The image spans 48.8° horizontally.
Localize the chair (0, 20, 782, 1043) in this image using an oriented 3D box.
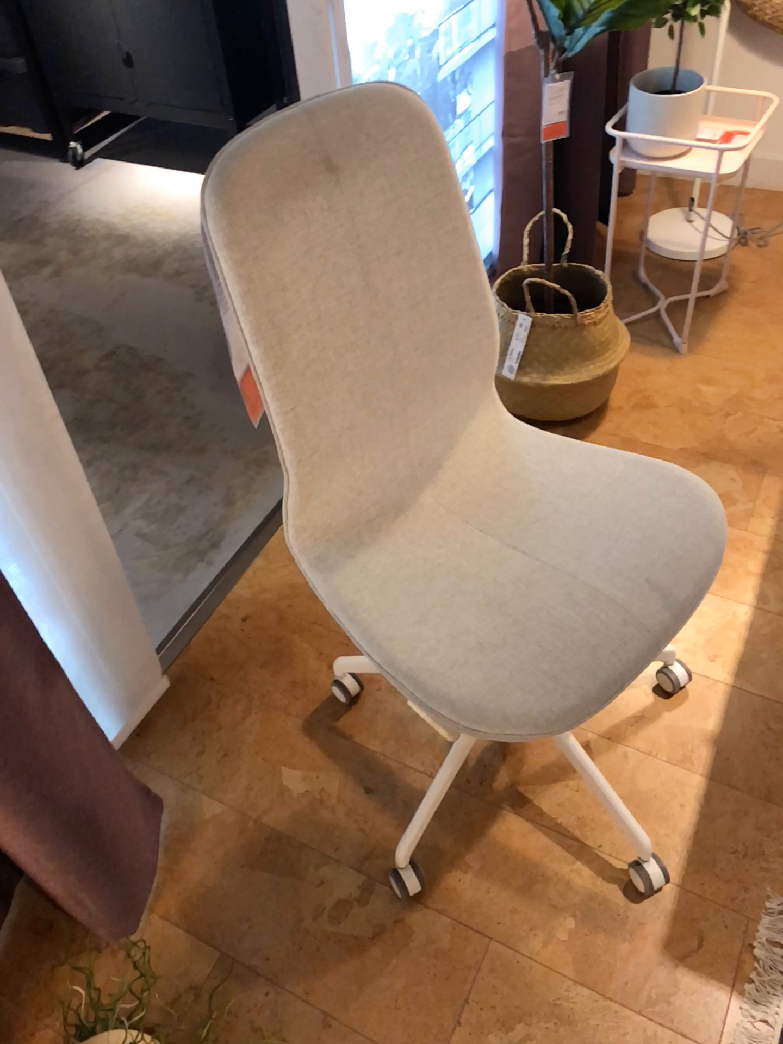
[{"bbox_3d":[0.139,0.019,1.103,0.691,0.937,0.671,27,54,29],"label":"chair"}]
